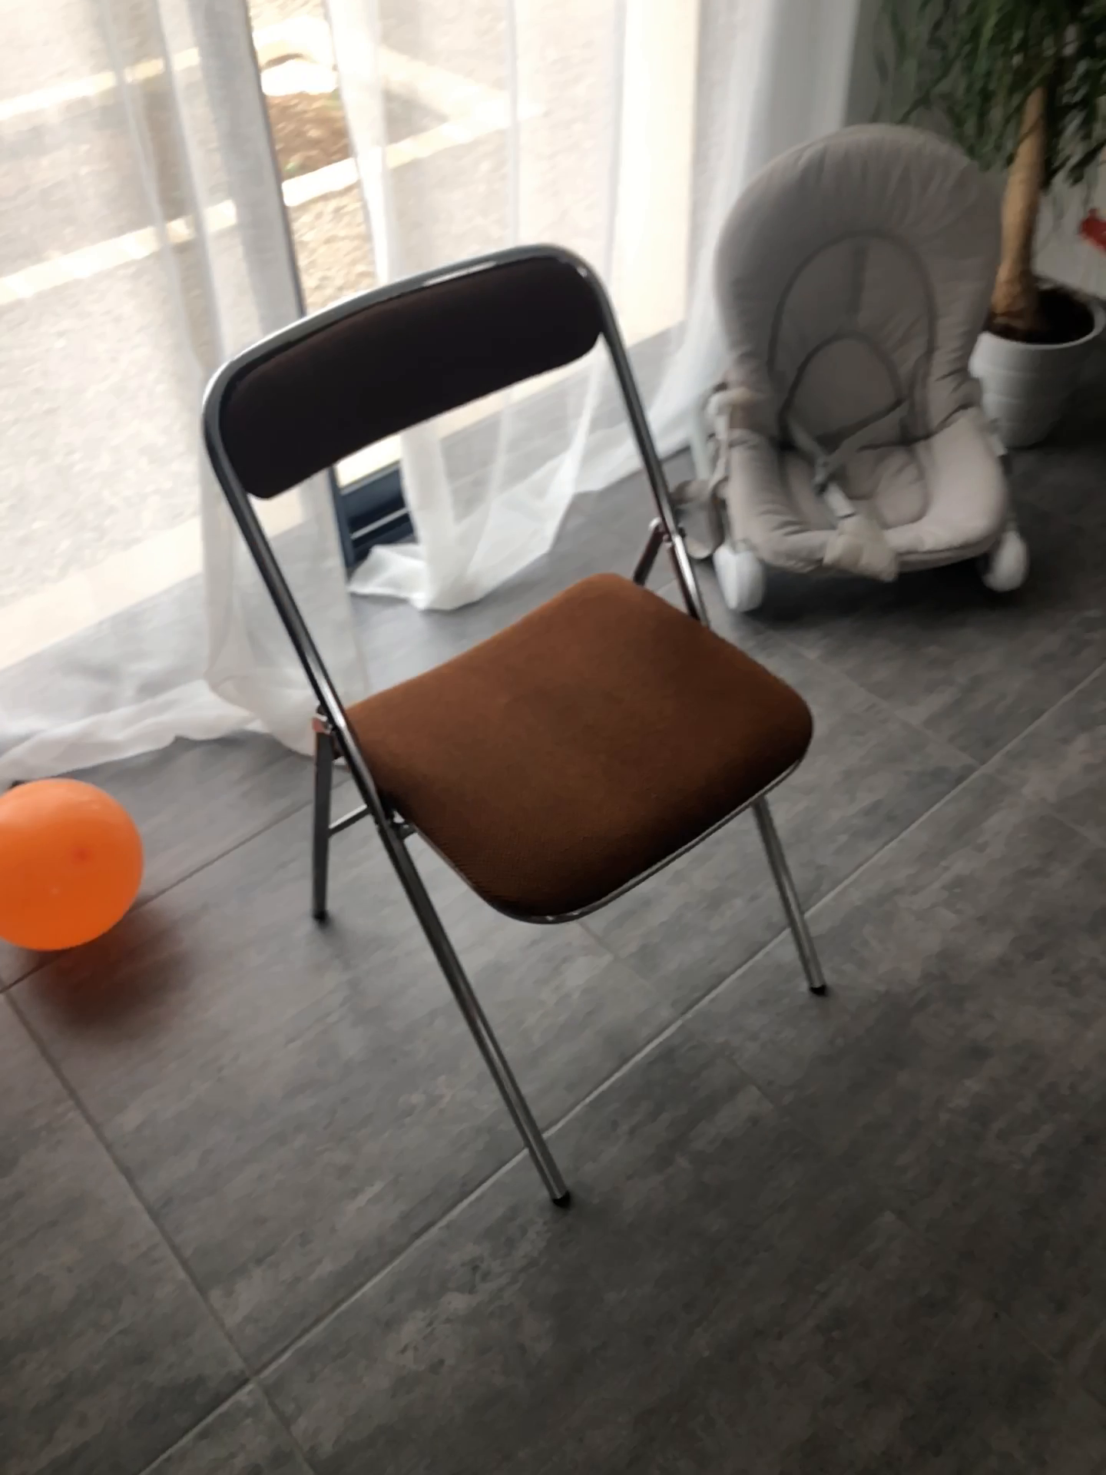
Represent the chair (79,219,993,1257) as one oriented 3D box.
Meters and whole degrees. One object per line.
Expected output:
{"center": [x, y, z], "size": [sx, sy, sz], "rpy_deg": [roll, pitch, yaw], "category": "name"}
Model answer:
{"center": [-0.021, 0.003, 1.217], "size": [0.482, 0.736, 0.551], "rpy_deg": [-31, 52, -25], "category": "chair"}
